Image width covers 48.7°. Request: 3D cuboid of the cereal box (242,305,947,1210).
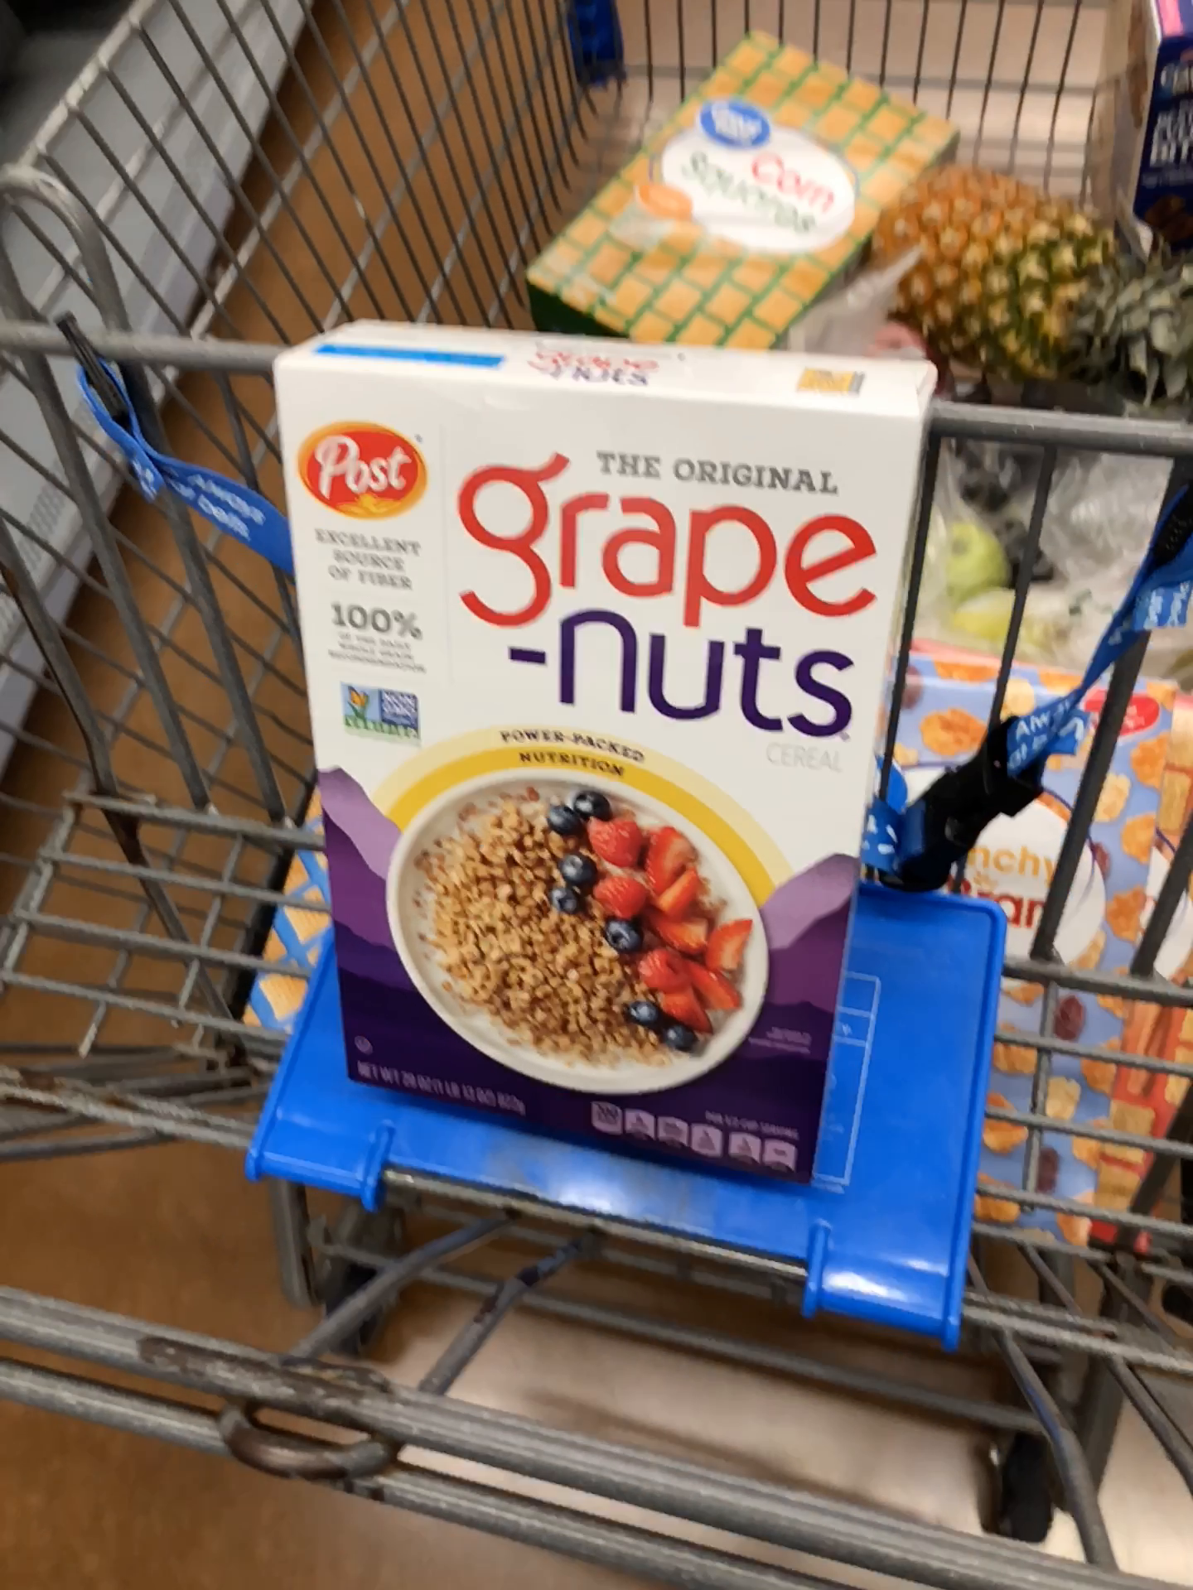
[{"bbox_3d":[-0.004,-0.004,0.392,0.170,0.250,0.050,10,30,13],"label":"cereal box"}]
